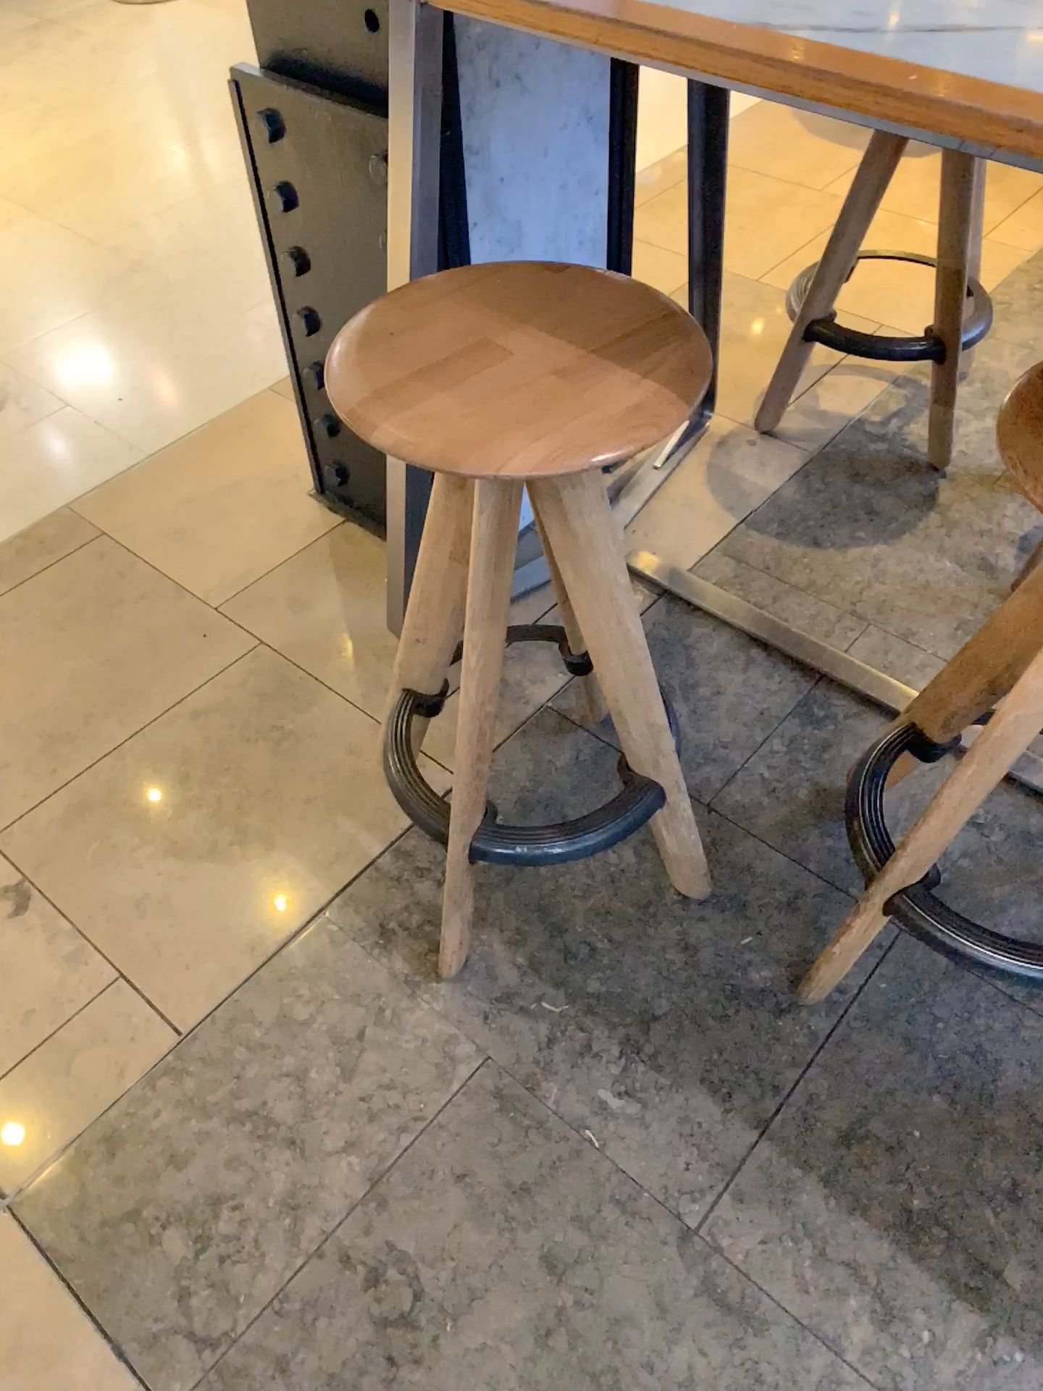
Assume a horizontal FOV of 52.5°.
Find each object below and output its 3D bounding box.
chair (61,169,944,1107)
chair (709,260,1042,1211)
[{"bbox_3d":[0.002,-0.061,1.179,0.535,0.706,0.555,32,57,27],"label":"chair"},{"bbox_3d":[0.532,0.063,1.036,0.465,0.706,0.425,32,57,27],"label":"chair"}]
